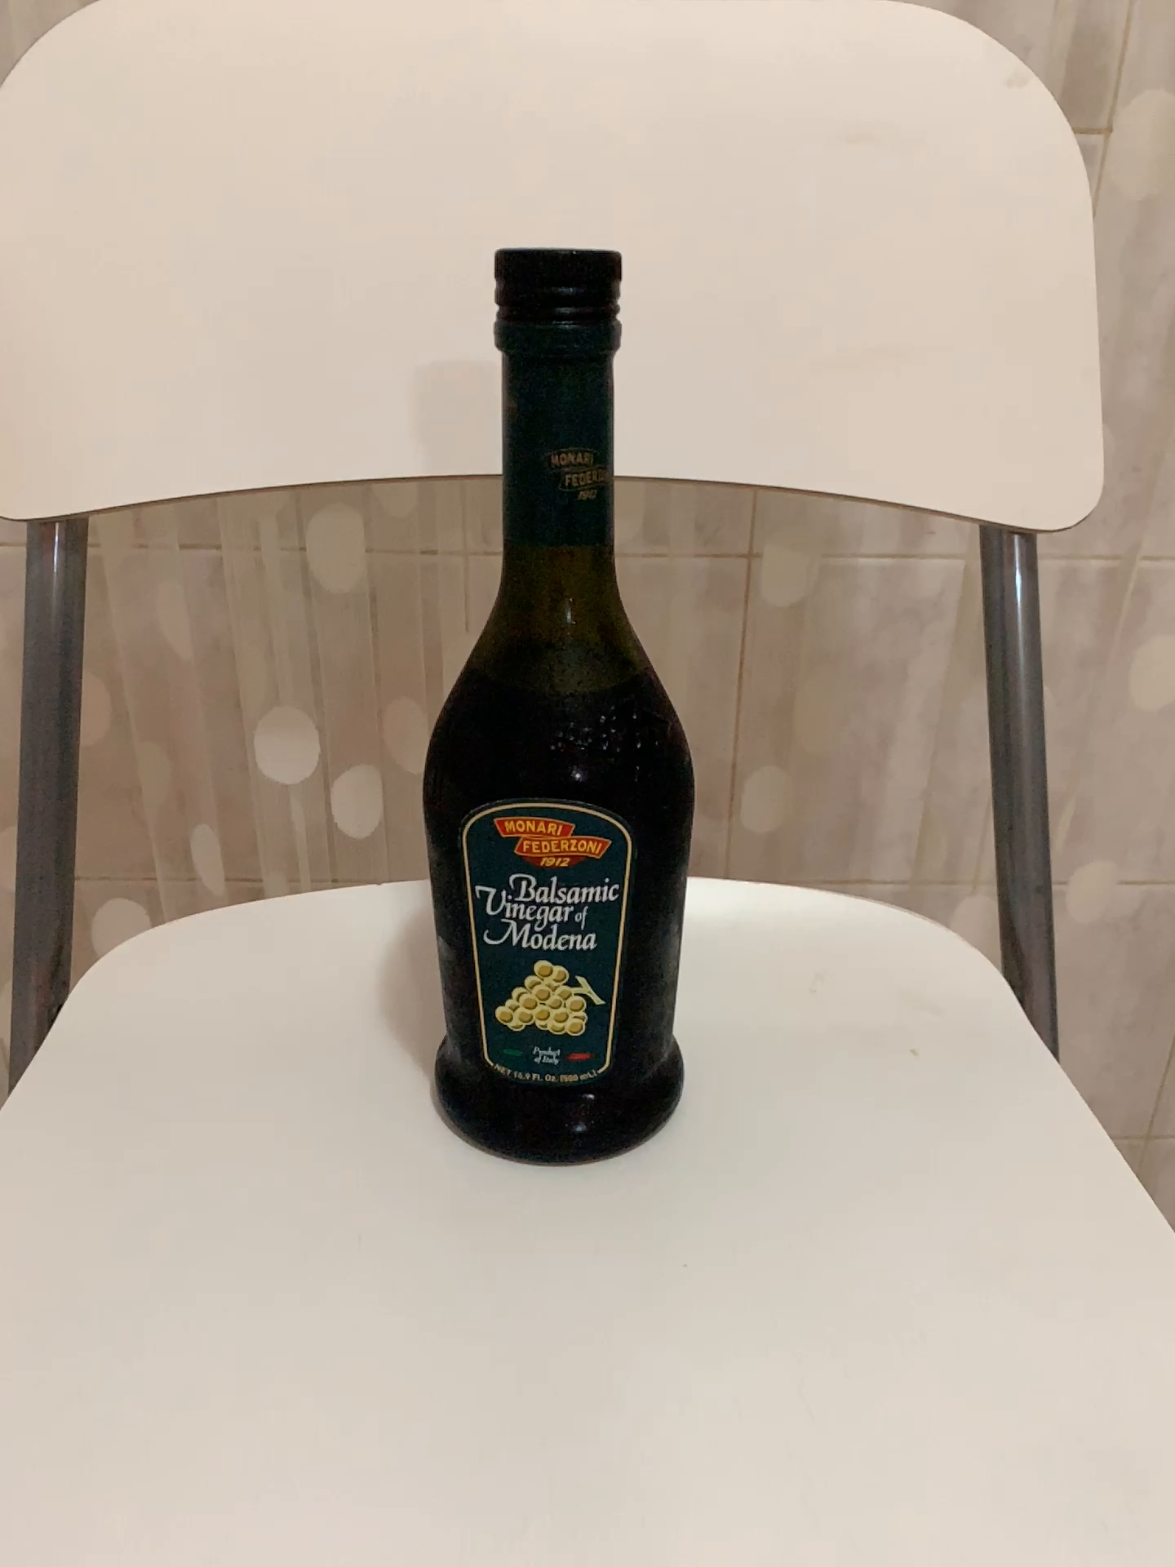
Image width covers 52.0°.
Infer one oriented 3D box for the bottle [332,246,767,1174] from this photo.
[{"bbox_3d":[-0.008,-0.015,0.337,0.090,0.243,0.080,2,25,2],"label":"bottle"}]
